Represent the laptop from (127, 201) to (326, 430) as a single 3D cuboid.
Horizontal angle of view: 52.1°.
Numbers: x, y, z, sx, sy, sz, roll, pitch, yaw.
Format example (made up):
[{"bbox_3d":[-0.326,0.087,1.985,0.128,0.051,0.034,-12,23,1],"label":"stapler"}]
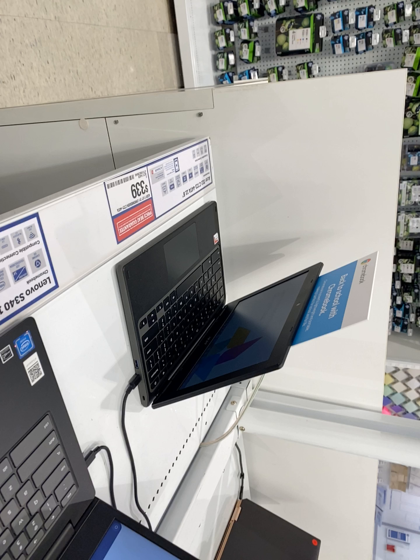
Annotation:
[{"bbox_3d":[0.053,0.023,0.628,0.290,0.181,0.201,-48,137,-55],"label":"laptop"}]
